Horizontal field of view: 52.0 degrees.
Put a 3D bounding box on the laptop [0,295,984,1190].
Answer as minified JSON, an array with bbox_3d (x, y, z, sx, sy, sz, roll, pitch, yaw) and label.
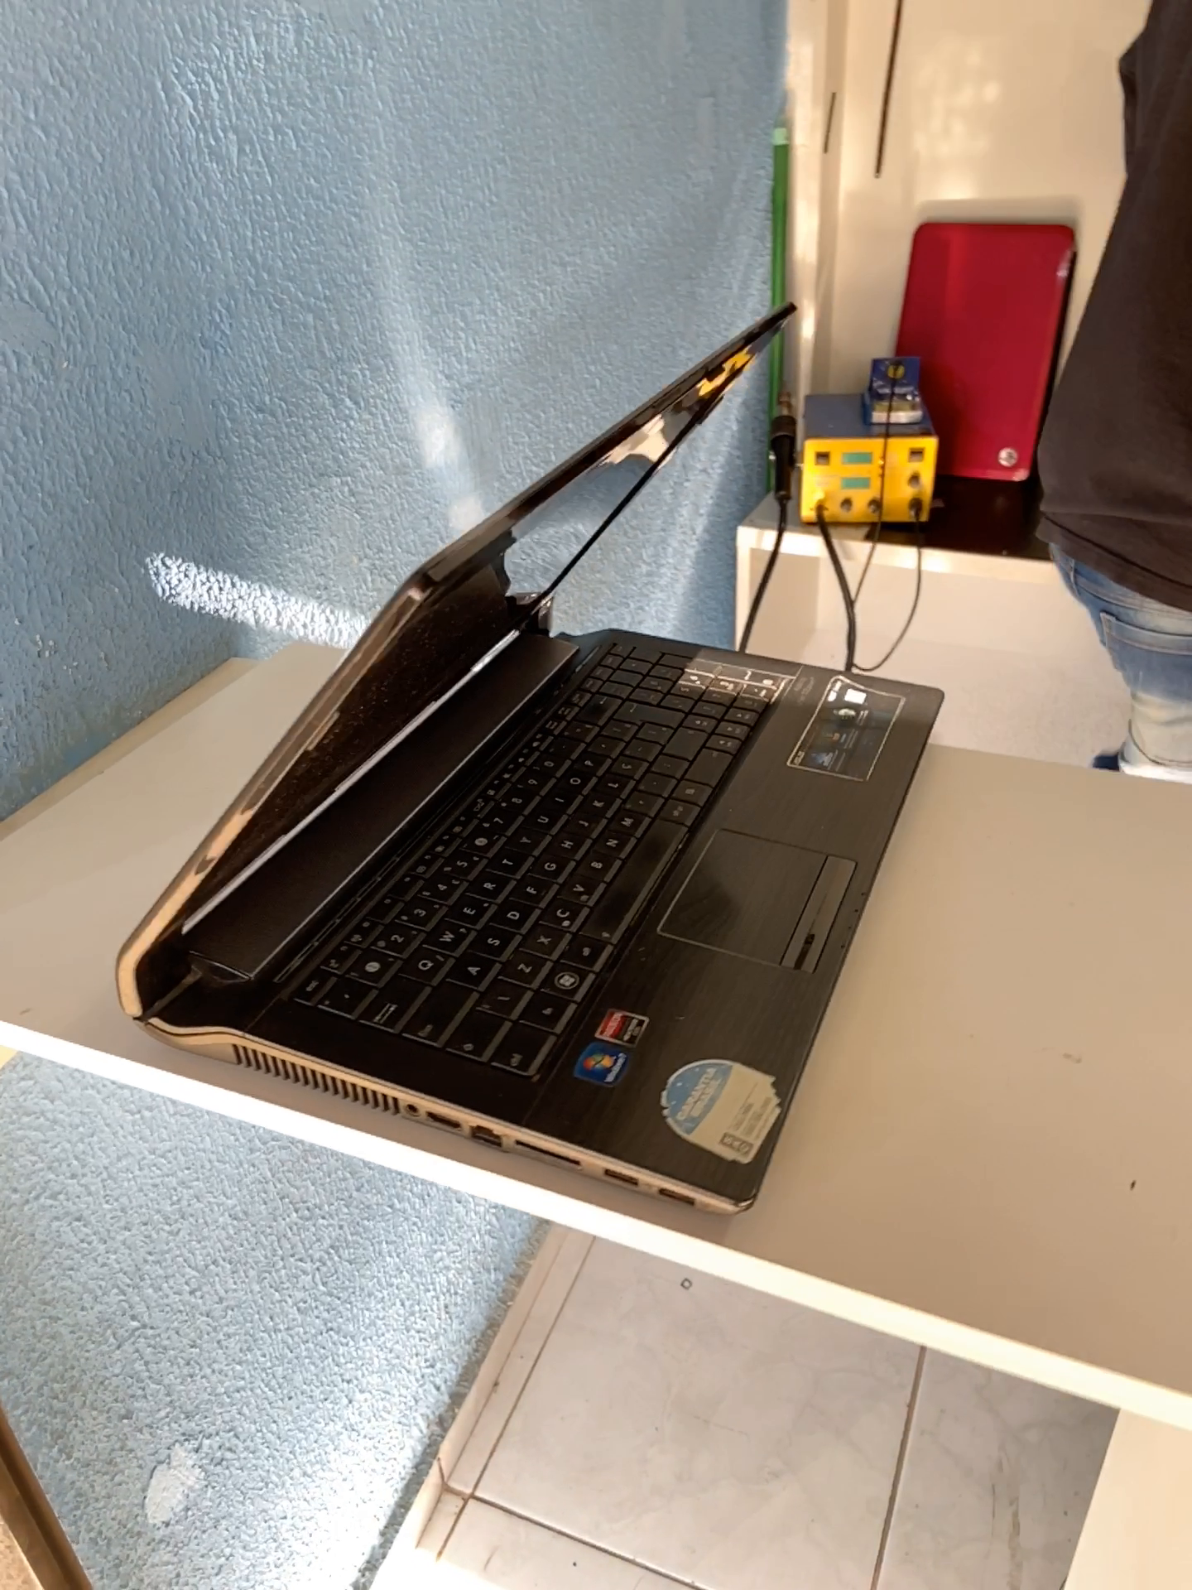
[{"bbox_3d":[0.005,-0.077,0.548,0.255,0.208,0.389,10,33,21],"label":"laptop"}]
